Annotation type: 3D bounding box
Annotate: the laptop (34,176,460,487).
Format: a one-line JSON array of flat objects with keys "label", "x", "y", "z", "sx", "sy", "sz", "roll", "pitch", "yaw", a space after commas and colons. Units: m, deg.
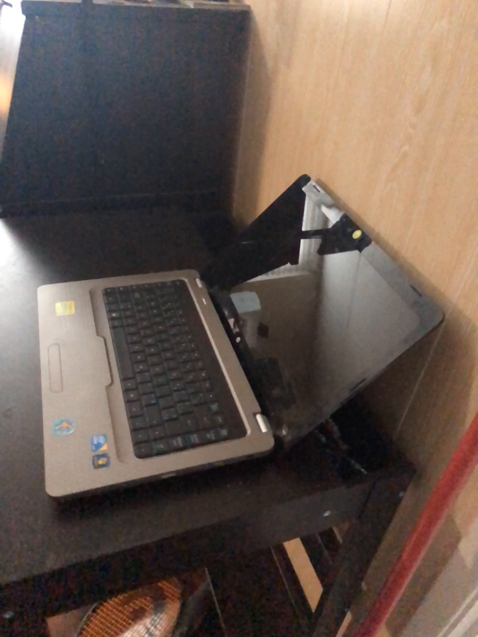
[{"label": "laptop", "x": -0.029, "y": -0.027, "z": 0.673, "sx": 0.418, "sy": 0.154, "sz": 0.365, "roll": -8, "pitch": 39, "yaw": -17}]
